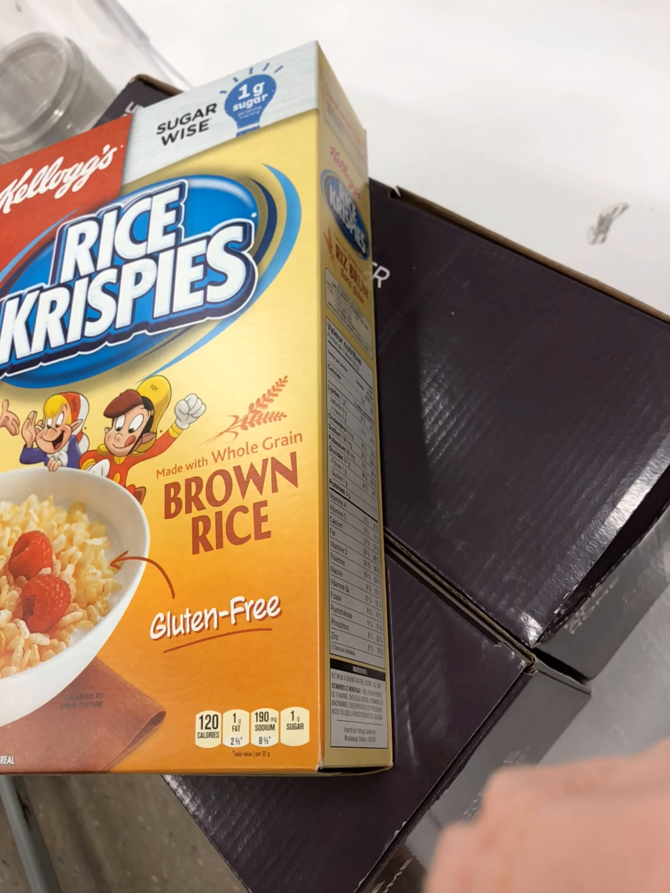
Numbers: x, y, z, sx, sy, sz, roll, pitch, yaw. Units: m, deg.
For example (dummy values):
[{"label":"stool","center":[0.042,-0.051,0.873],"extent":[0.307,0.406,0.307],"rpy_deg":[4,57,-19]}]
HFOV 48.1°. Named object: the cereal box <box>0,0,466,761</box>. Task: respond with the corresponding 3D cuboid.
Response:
[{"label":"cereal box","center":[-0.074,-0.039,0.350],"extent":[0.220,0.070,0.330],"rpy_deg":[-11,63,18]}]
